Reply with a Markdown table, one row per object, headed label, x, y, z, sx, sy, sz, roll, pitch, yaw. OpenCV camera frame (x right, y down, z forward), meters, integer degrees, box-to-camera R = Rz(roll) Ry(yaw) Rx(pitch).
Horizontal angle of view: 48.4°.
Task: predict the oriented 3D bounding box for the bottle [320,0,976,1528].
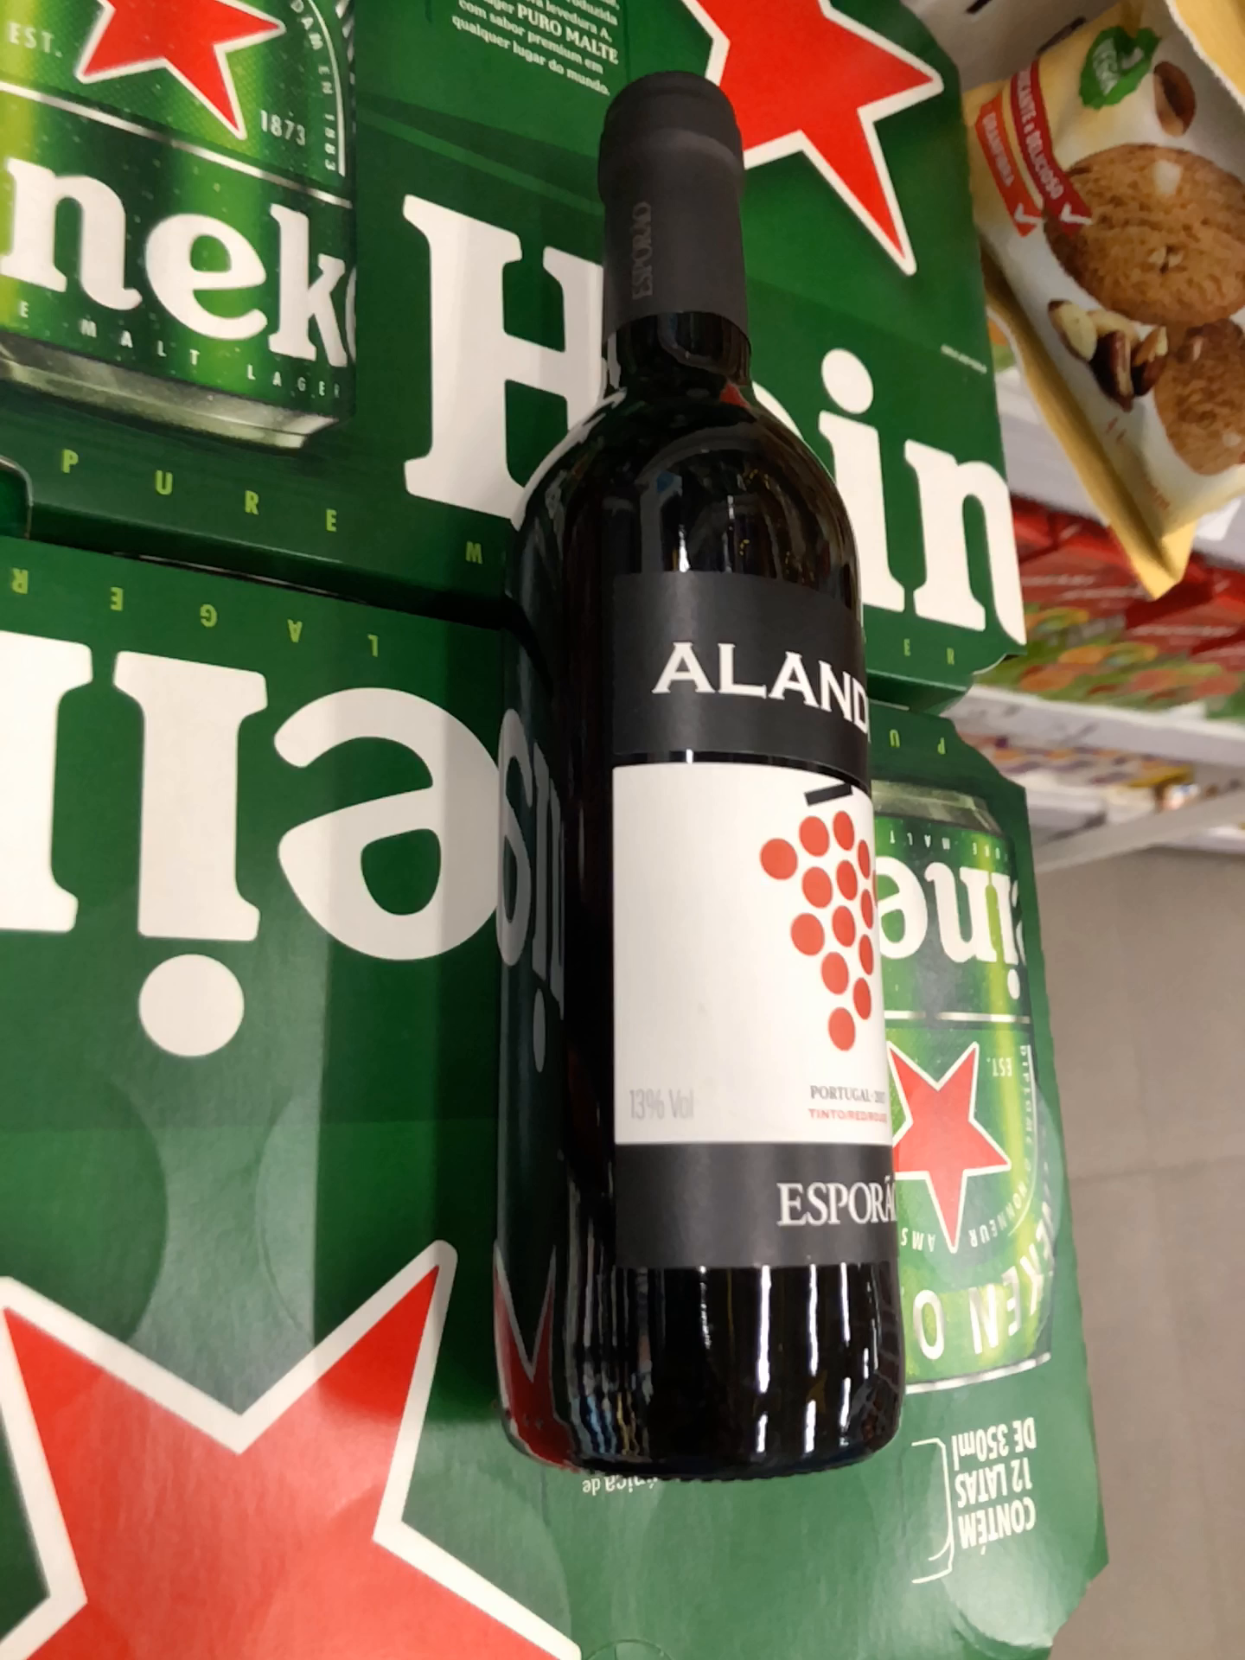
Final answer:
| label | x | y | z | sx | sy | sz | roll | pitch | yaw |
| --- | --- | --- | --- | --- | --- | --- | --- | --- | --- |
| bottle | -0.002 | -0.036 | 0.211 | 0.060 | 0.060 | 0.240 | 10 | 71 | -46 |
